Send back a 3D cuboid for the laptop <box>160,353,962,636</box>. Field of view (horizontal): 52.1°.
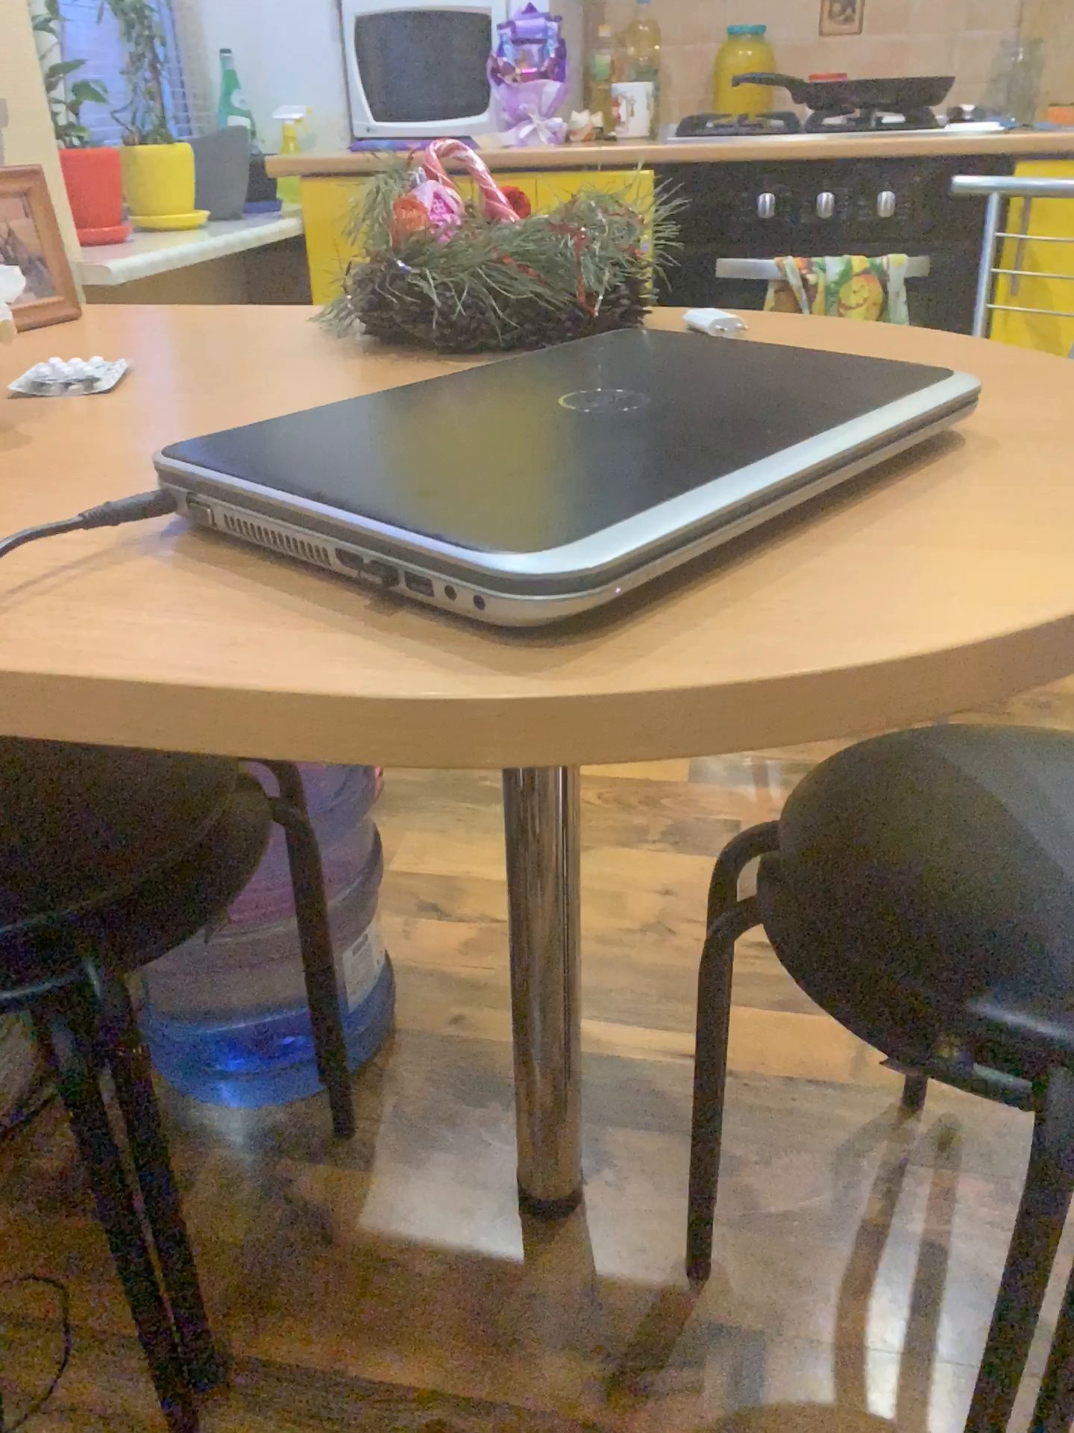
[{"bbox_3d":[0.029,-0.133,0.549,0.225,0.004,0.350,25,39,35],"label":"laptop"}]
